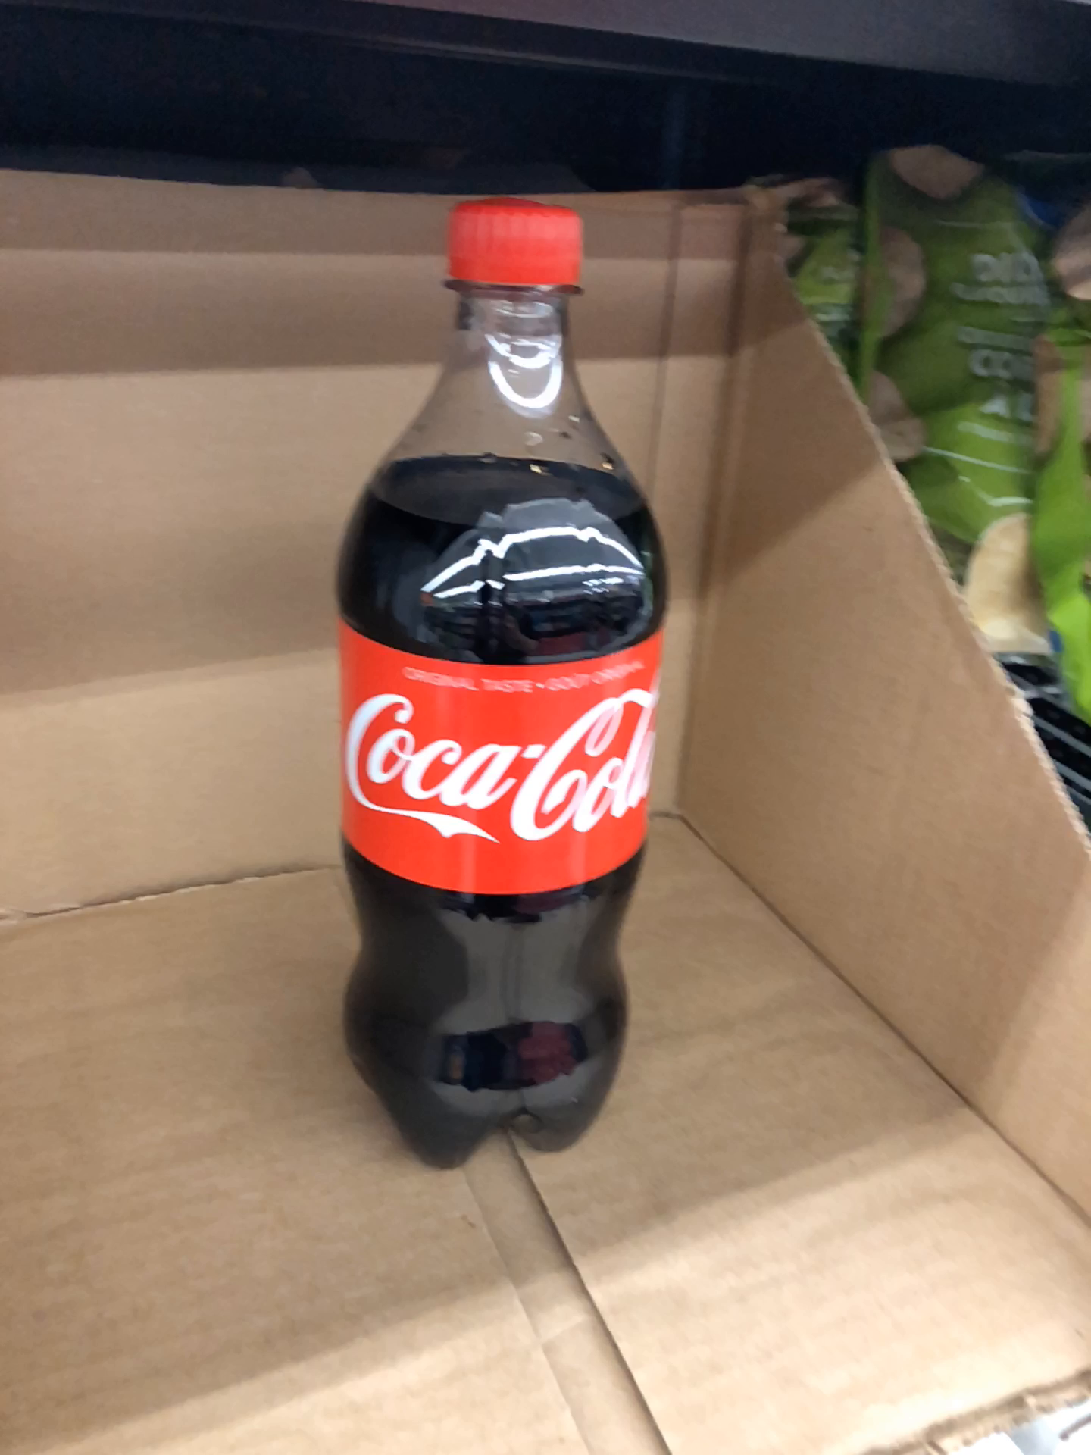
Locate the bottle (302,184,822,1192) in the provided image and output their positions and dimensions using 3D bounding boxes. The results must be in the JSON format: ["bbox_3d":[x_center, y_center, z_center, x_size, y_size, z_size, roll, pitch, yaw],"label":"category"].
[{"bbox_3d":[-0.011,-0.006,0.328,0.100,0.248,0.091,-2,27,-14],"label":"bottle"}]
